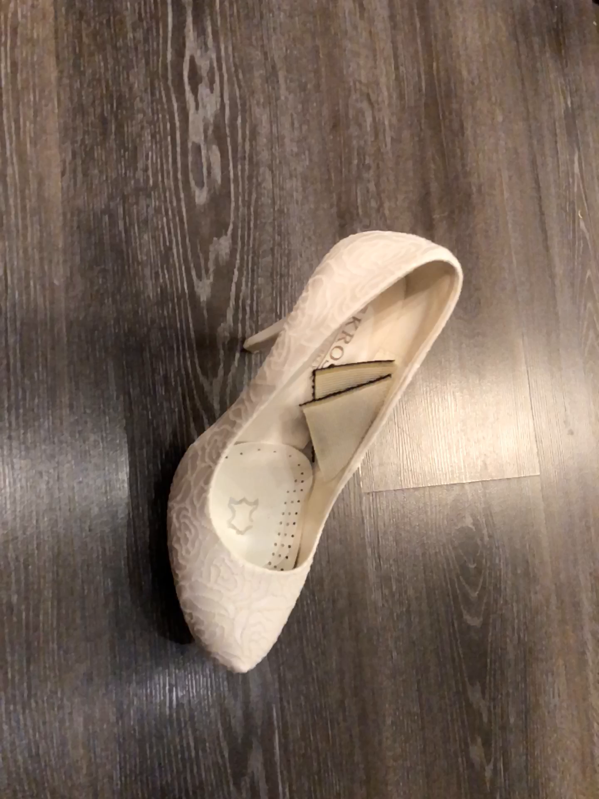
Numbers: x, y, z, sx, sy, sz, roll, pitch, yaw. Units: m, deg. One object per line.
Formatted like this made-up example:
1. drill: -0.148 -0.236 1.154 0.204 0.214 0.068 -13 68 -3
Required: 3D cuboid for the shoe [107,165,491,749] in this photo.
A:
1. shoe: -0.004 0.030 0.317 0.090 0.149 0.210 17 73 -30
